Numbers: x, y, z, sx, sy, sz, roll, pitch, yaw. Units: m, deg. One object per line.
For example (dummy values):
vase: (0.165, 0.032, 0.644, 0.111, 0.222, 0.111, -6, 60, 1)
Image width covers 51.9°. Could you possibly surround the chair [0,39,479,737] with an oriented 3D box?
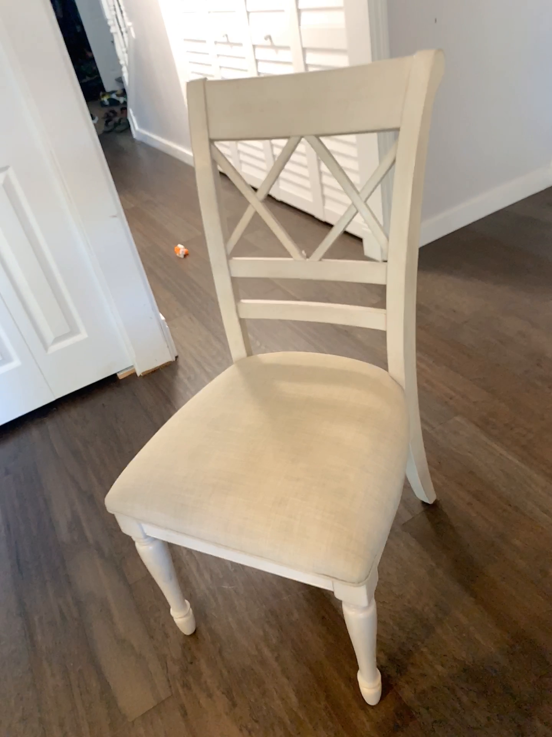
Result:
chair: (0.005, 0.042, 1.002, 0.531, 0.924, 0.653, 9, 41, 26)
